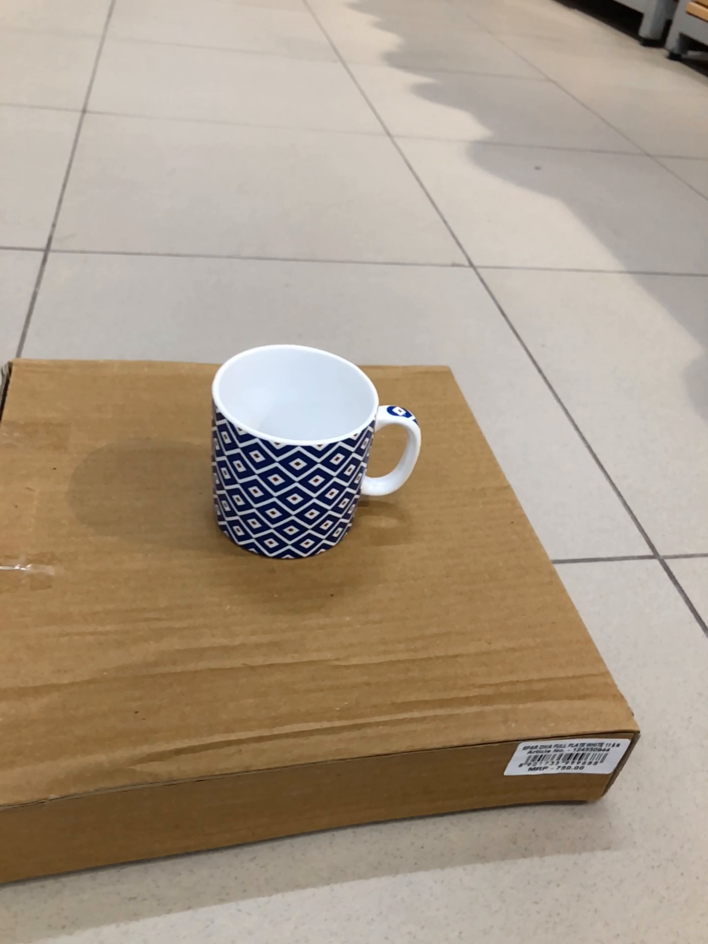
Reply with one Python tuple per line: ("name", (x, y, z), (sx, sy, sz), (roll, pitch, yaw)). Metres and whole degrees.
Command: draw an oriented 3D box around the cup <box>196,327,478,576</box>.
("cup", (-0.015, -0.013, 0.368), (0.110, 0.079, 0.080), (-3, 40, -14))
